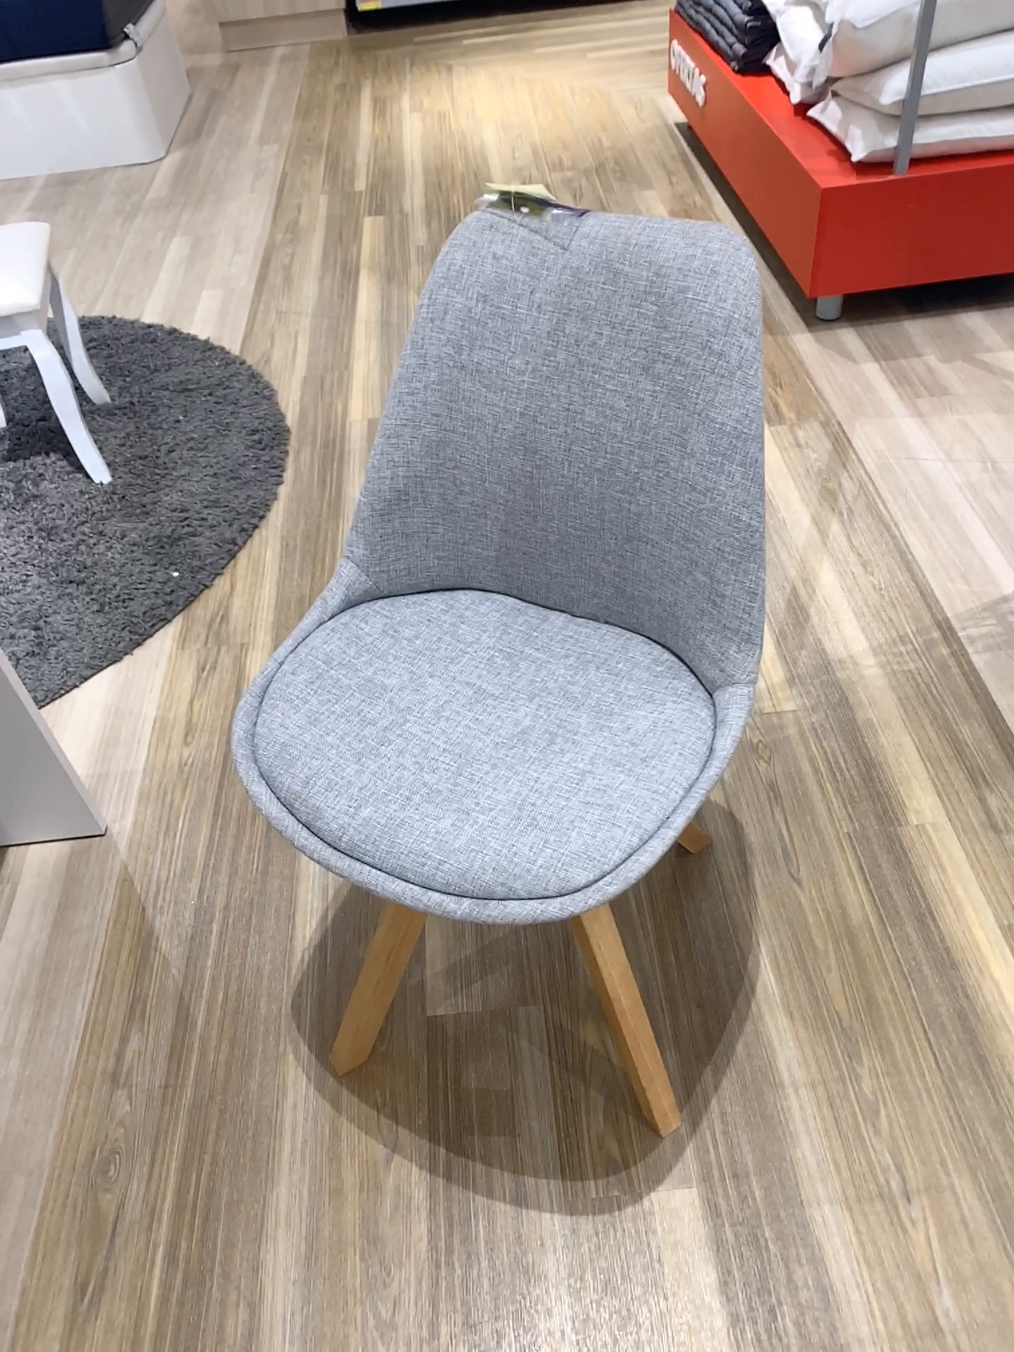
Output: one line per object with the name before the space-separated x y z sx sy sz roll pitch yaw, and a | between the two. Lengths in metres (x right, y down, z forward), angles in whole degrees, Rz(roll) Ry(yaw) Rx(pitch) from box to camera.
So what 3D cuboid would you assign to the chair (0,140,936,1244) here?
chair | 0.012 0.040 1.014 0.514 0.855 0.517 17 49 23
